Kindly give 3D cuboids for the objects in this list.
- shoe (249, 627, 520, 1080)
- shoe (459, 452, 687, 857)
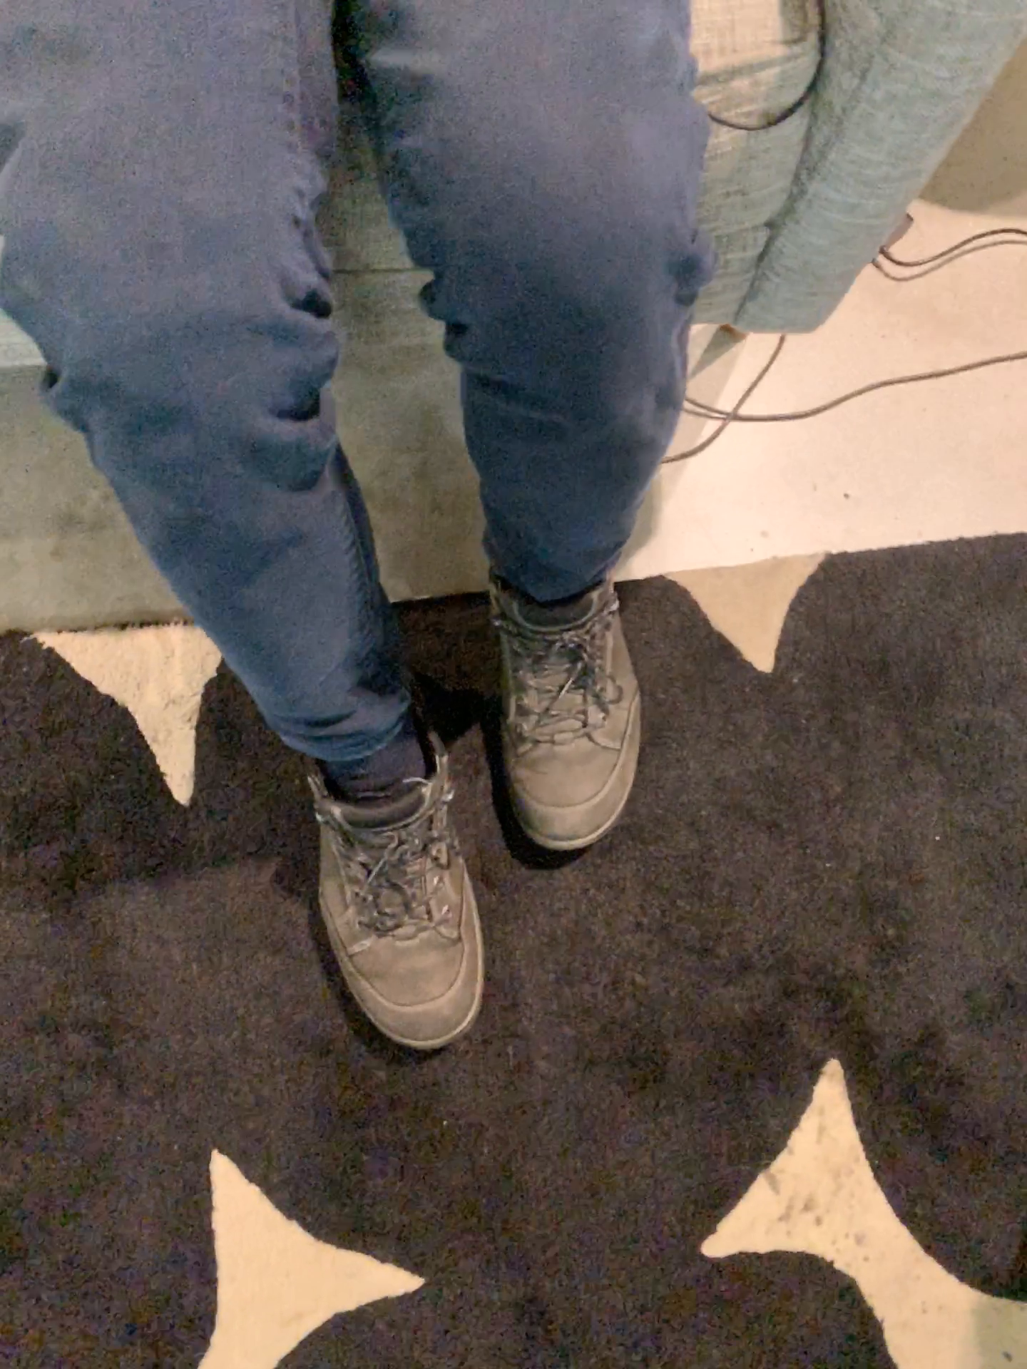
[{"bbox_3d":[-0.093,0.117,0.758,0.121,0.077,0.287,-15,80,-5],"label":"shoe"},{"bbox_3d":[0.039,-0.022,0.795,0.119,0.077,0.284,-9,79,-4],"label":"shoe"}]
